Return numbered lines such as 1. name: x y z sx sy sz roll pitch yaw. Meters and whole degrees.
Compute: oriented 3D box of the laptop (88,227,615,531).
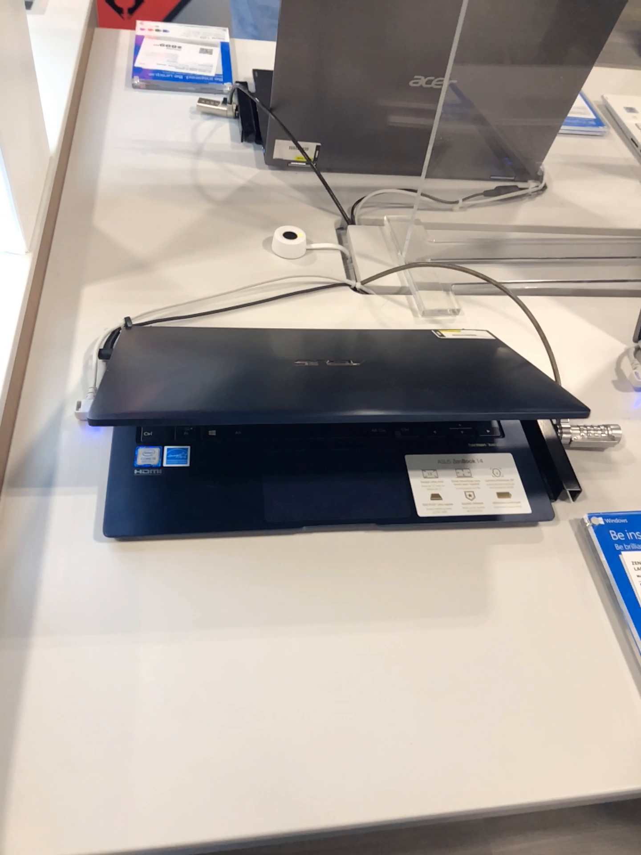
1. laptop: 0.011 -0.041 0.507 0.310 0.095 0.203 0 48 -10
